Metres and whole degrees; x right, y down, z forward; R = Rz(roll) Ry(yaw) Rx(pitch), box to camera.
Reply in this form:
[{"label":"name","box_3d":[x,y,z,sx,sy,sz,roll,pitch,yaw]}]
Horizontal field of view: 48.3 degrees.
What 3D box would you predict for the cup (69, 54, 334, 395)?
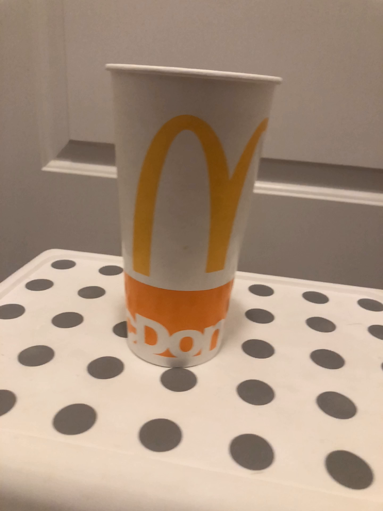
[{"label":"cup","box_3d":[-0.005,-0.026,0.246,0.100,0.155,0.099,3,22,-1]}]
